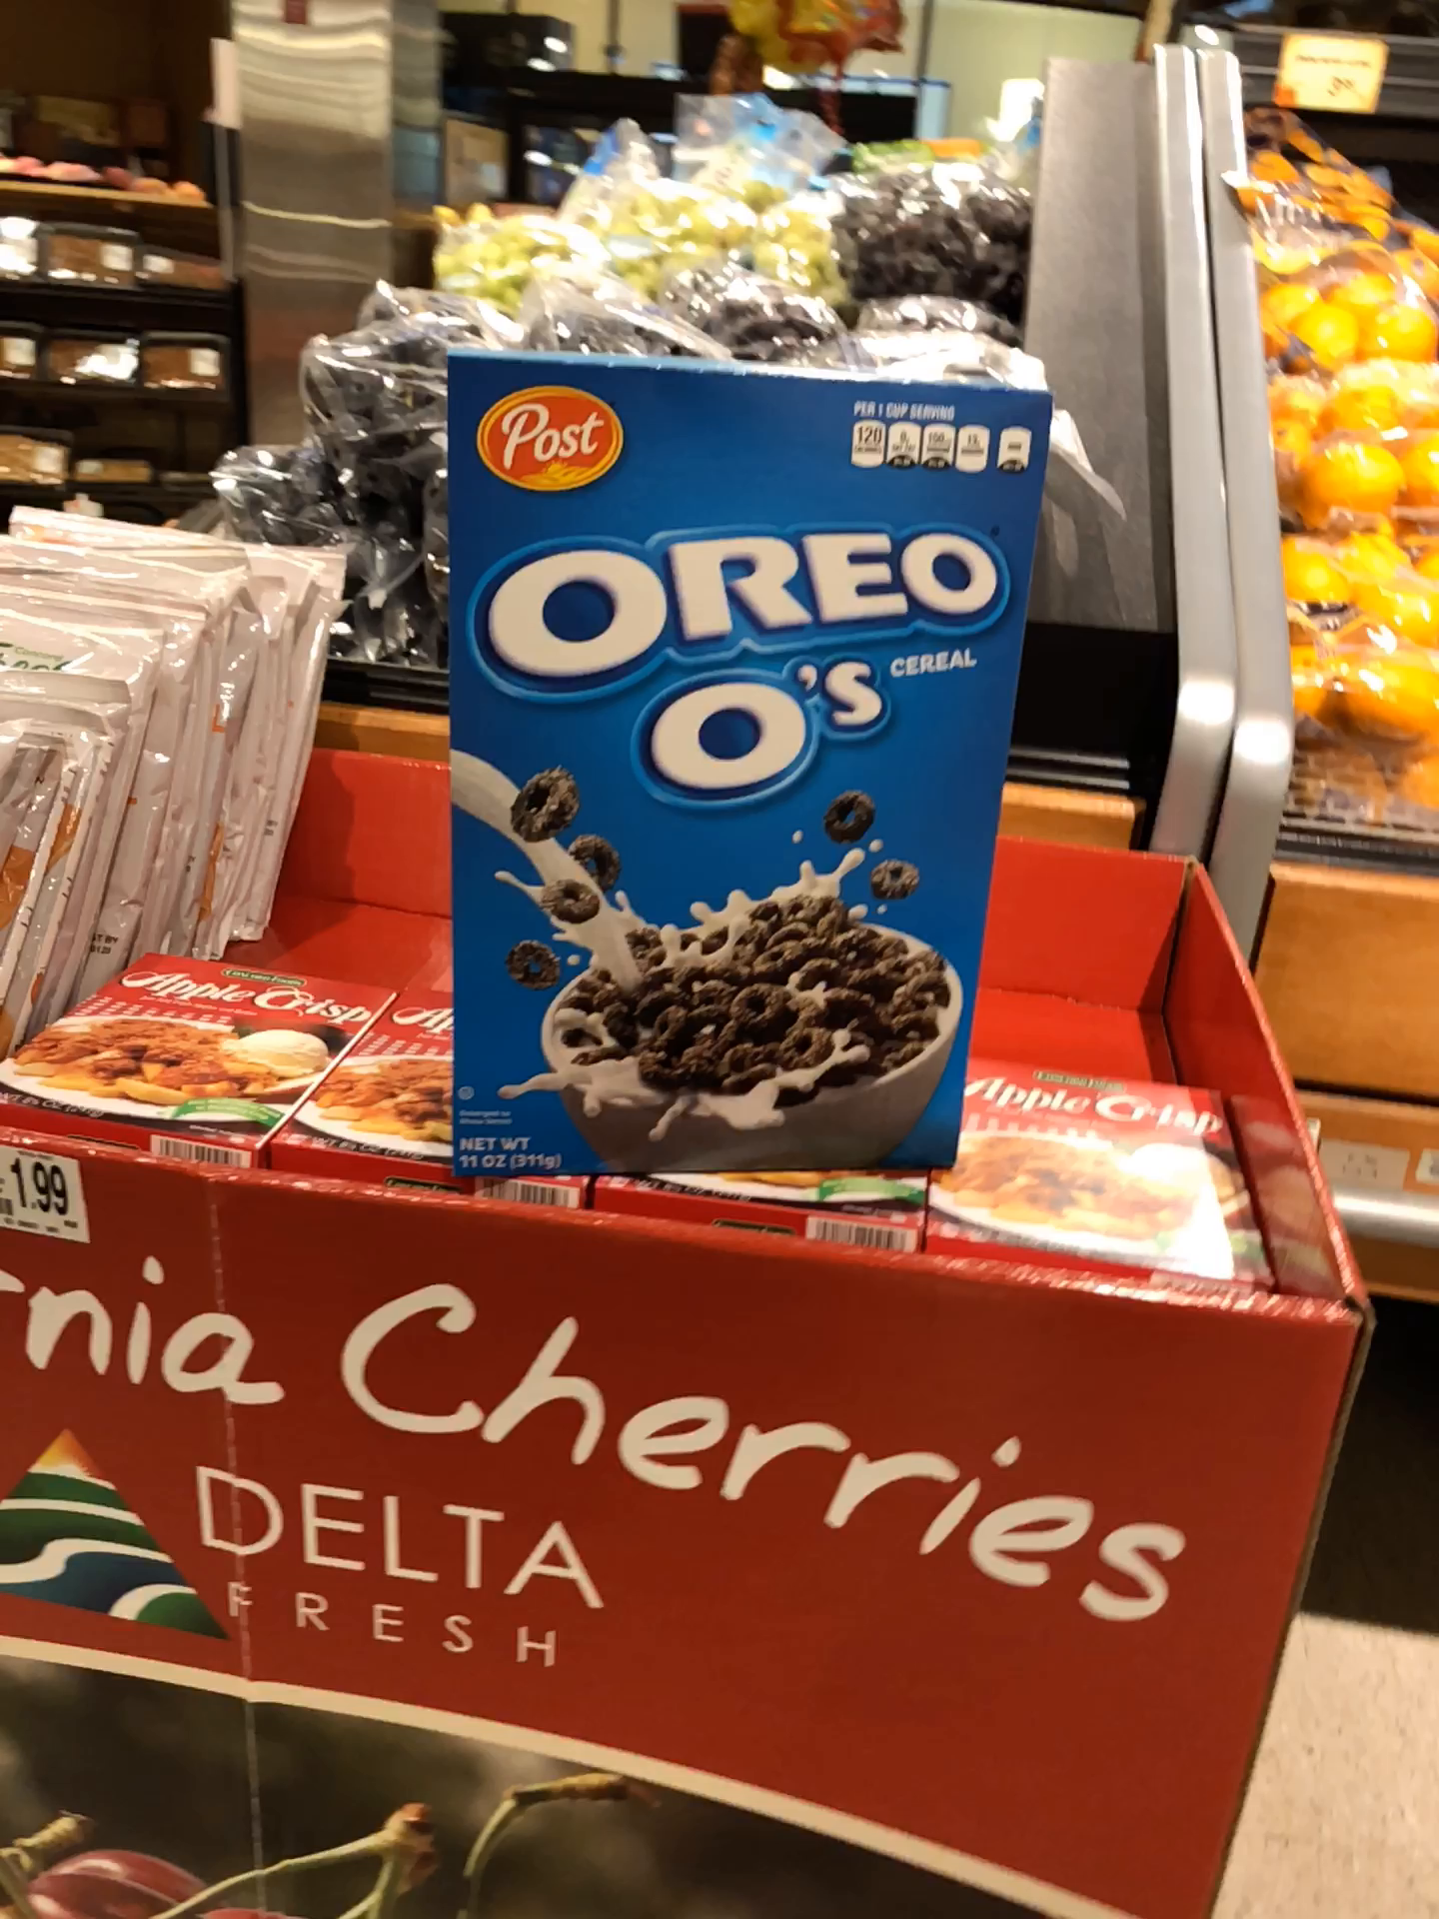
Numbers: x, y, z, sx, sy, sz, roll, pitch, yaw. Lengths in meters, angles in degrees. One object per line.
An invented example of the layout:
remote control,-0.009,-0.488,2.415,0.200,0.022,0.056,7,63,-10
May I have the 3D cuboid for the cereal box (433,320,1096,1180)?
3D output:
cereal box,0.004,-0.067,0.550,0.200,0.278,0.070,-1,21,-10
